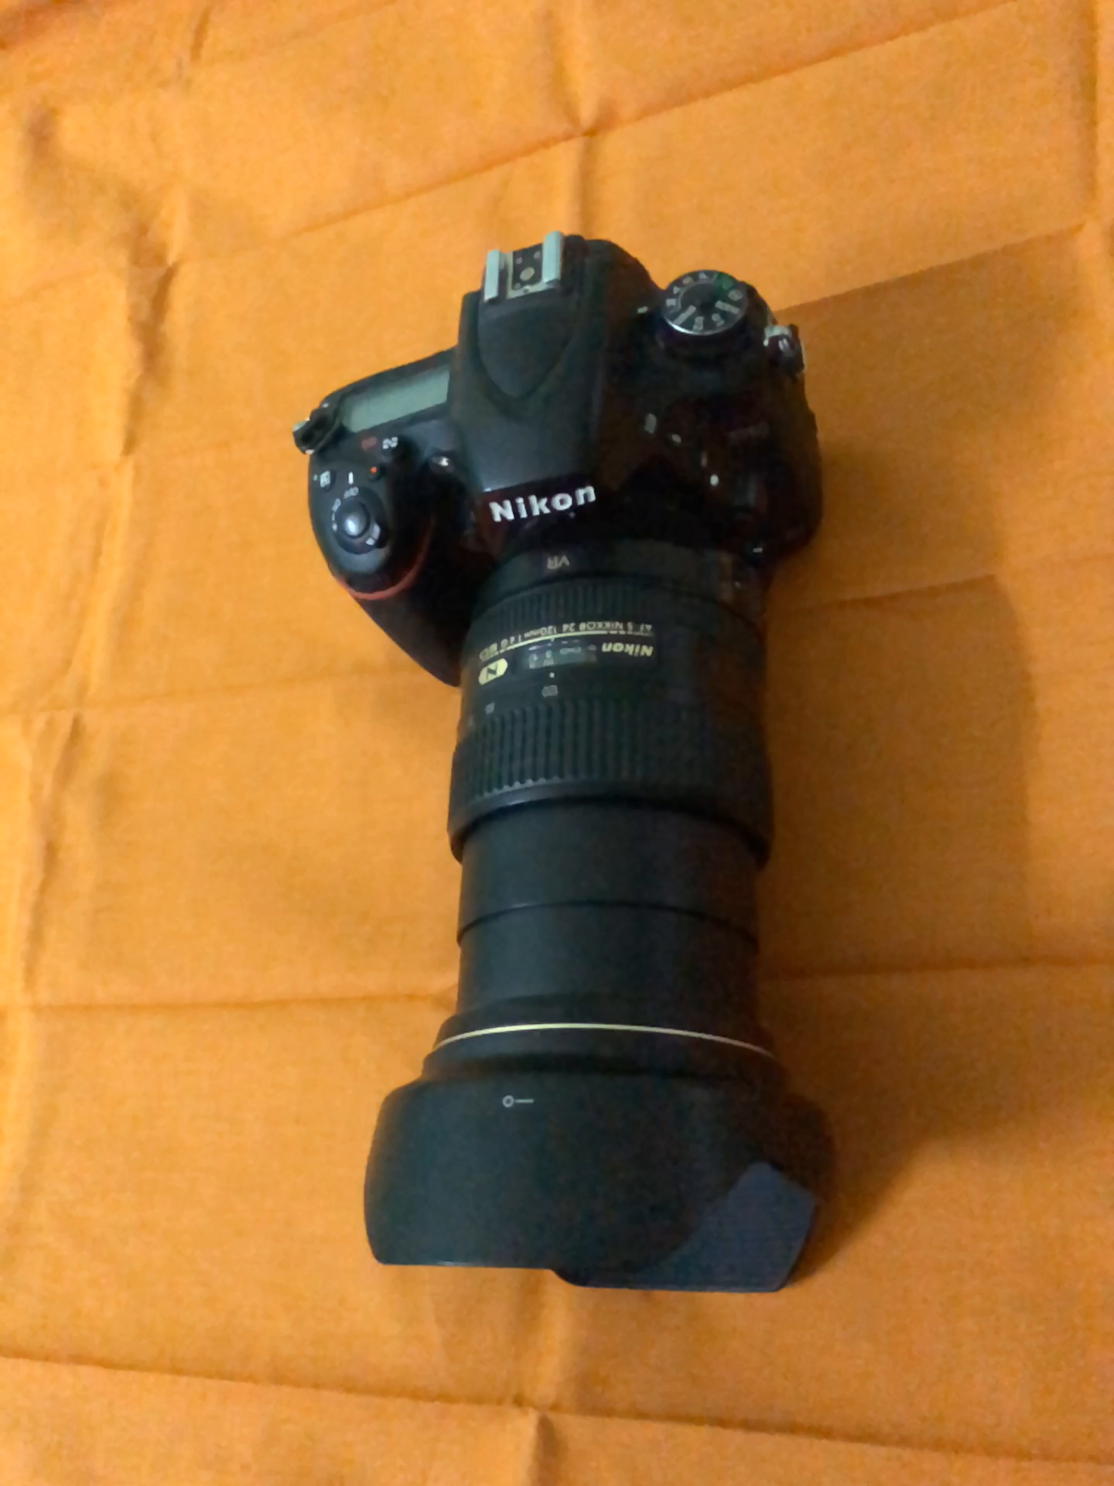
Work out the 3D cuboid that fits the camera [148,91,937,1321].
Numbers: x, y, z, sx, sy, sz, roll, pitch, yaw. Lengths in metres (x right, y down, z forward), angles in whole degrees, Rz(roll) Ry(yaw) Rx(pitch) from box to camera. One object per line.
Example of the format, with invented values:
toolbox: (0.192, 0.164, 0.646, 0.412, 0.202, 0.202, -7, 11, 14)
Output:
camera: (0.005, -0.002, 0.314, 0.131, 0.120, 0.264, -10, 65, 21)
